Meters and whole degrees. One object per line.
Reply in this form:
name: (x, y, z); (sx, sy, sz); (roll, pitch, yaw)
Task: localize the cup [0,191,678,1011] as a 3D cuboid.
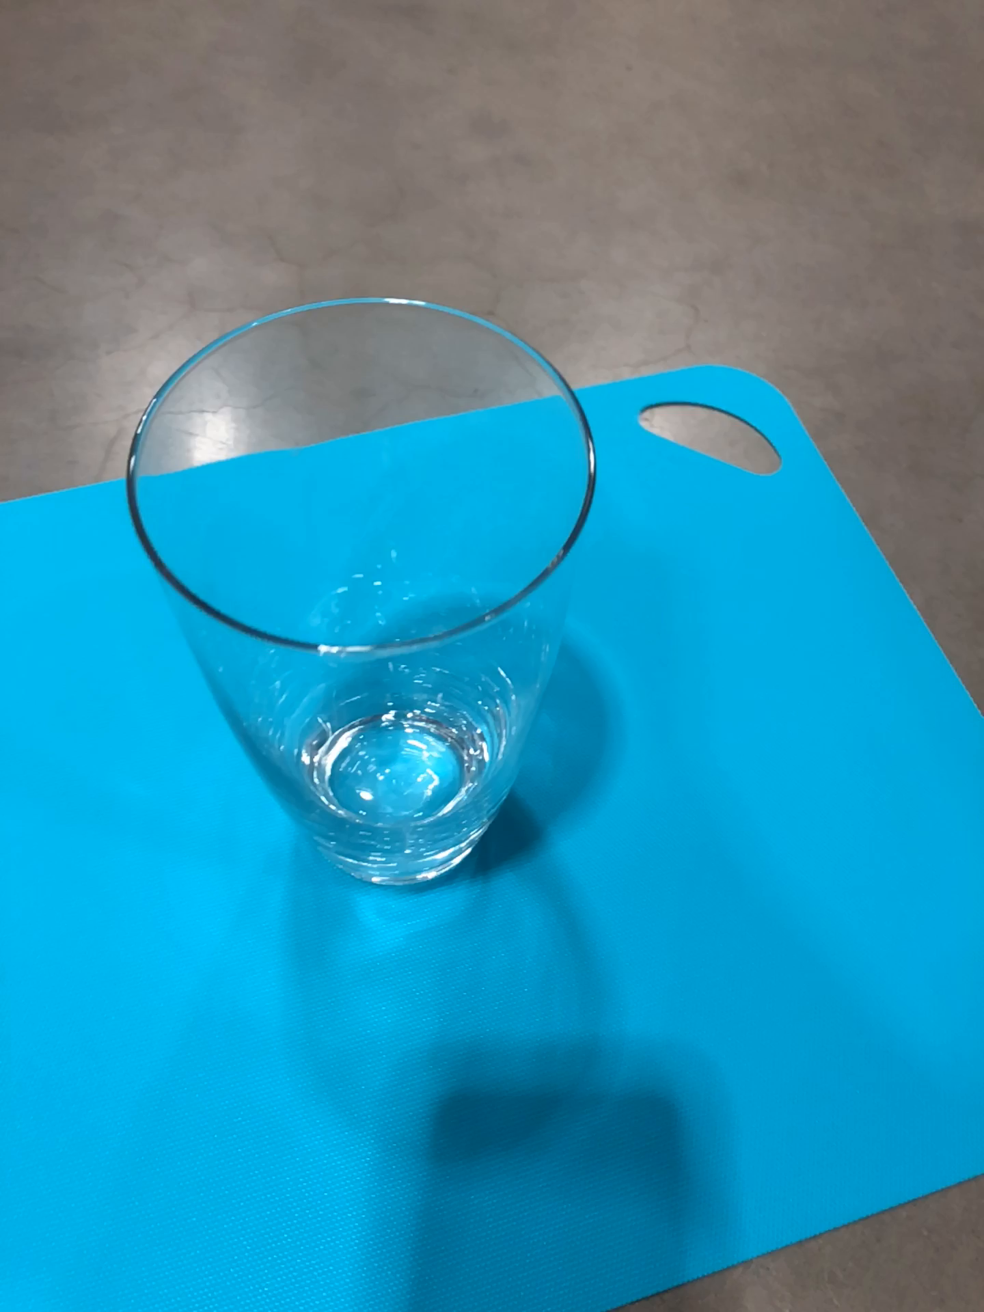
cup: (-0.036, -0.003, 0.279); (0.100, 0.160, 0.100); (1, 57, -1)
